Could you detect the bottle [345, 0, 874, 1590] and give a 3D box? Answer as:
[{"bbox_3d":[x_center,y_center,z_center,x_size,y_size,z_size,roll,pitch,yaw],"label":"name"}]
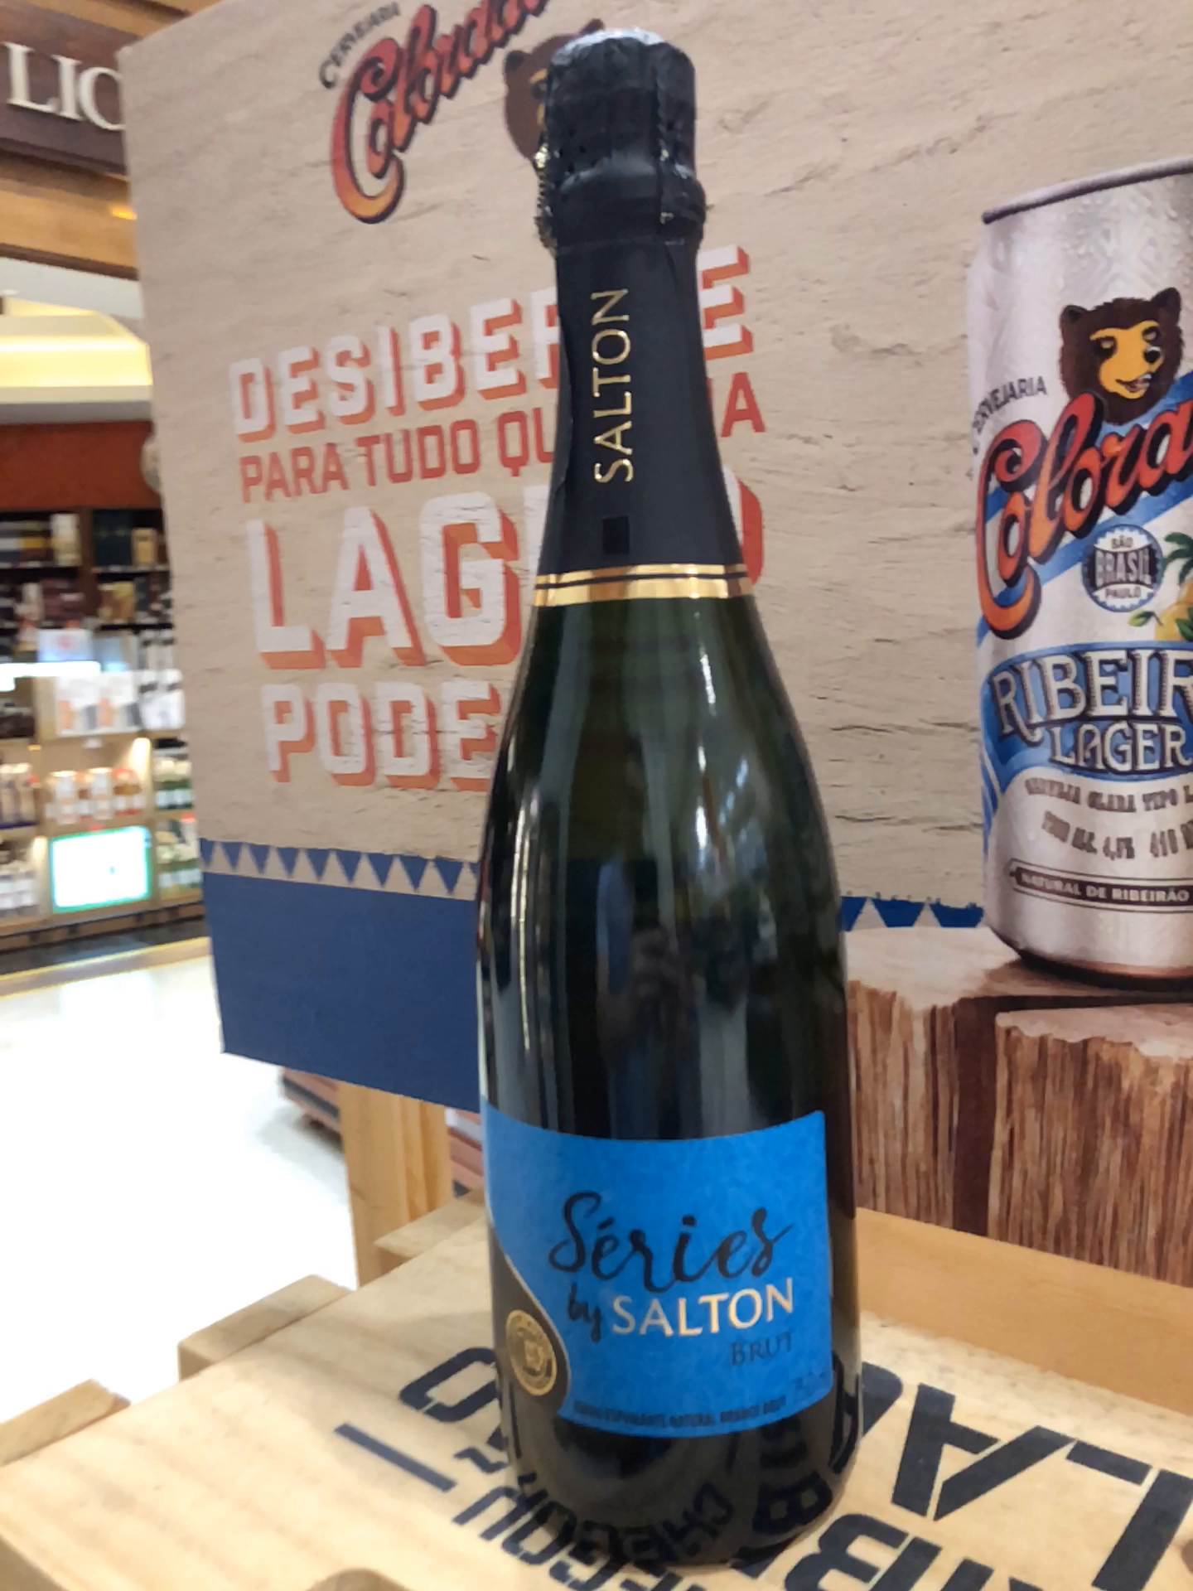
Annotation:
[{"bbox_3d":[0.011,-0.007,0.285,0.090,0.319,0.080,-1,5,10],"label":"bottle"}]
